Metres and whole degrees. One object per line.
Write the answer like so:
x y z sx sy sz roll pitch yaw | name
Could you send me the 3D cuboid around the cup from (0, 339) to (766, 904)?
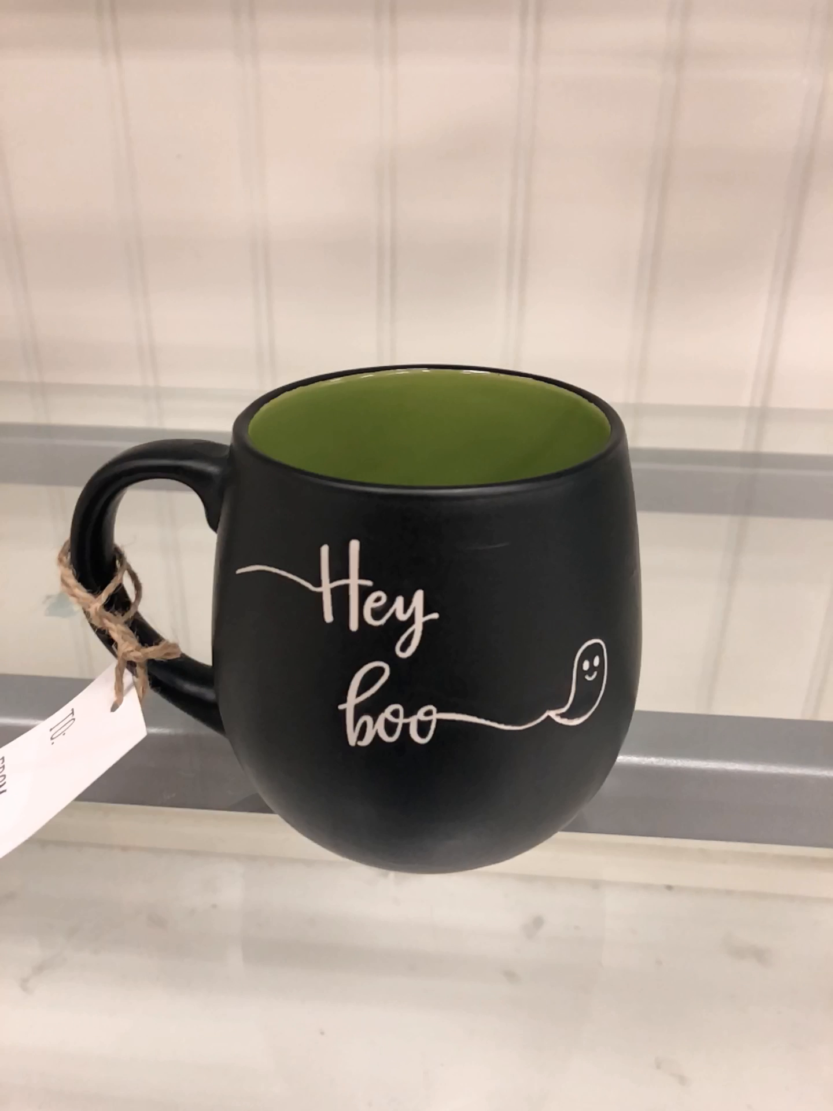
-0.013 0.007 0.219 0.149 0.089 0.091 3 27 5 | cup
